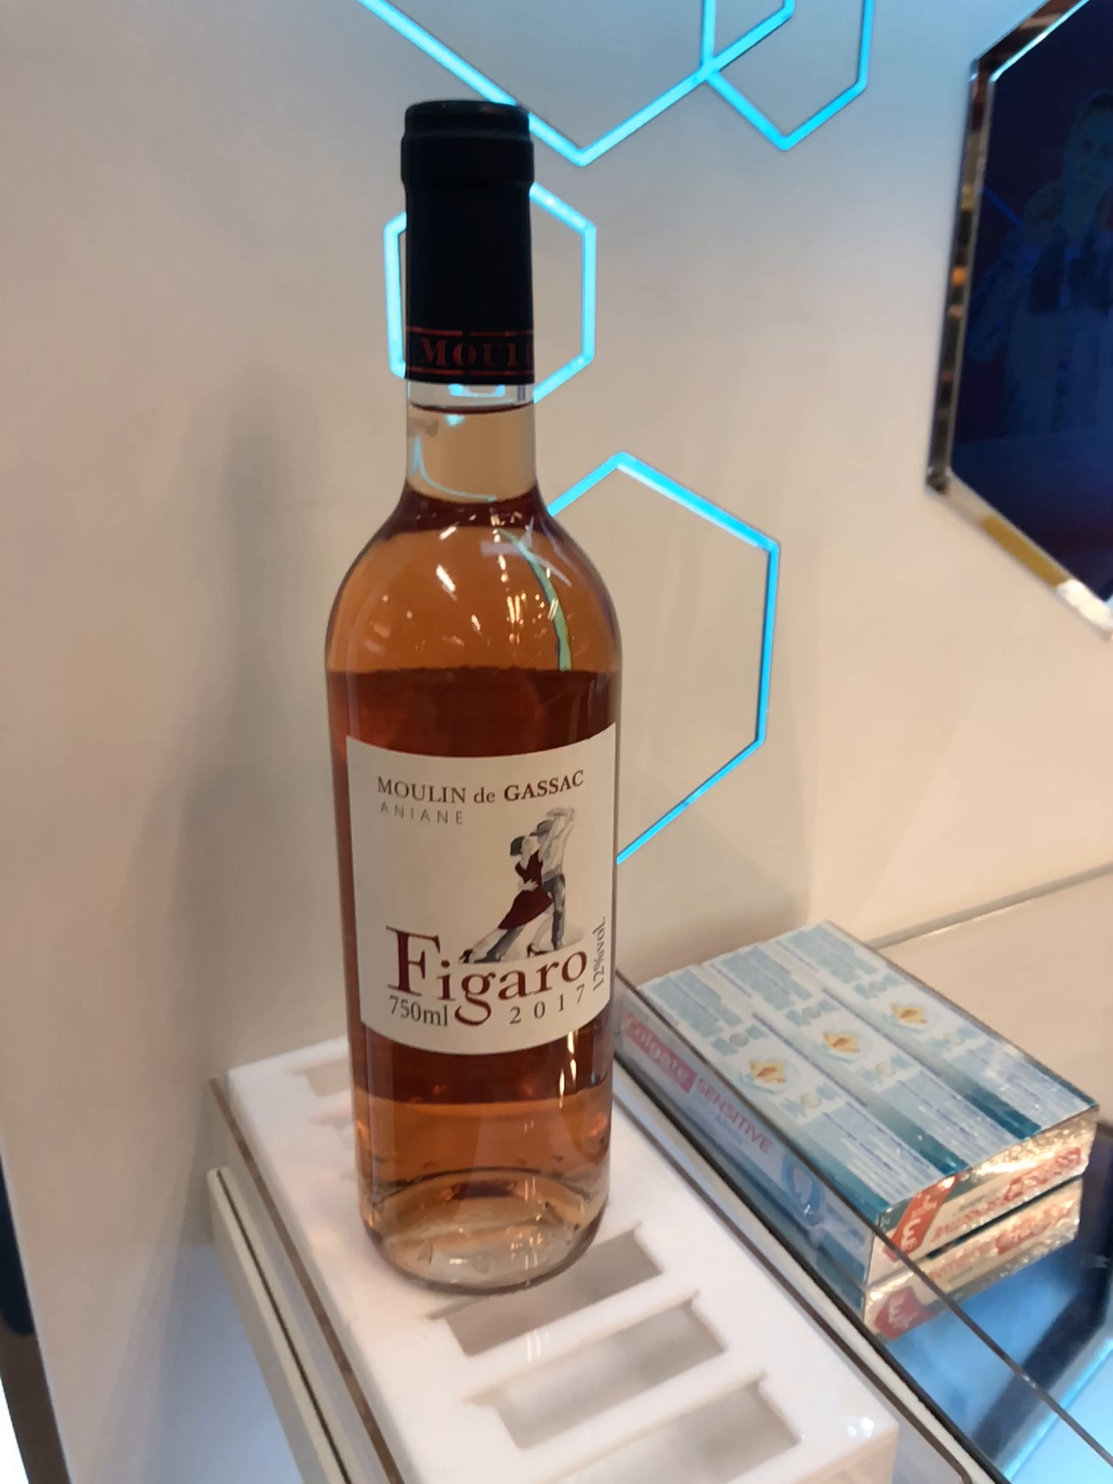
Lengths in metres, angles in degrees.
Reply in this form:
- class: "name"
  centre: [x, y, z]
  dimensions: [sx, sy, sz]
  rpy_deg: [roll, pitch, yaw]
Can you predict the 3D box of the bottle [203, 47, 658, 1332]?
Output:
- class: "bottle"
  centre: [-0.030, -0.001, 0.337]
  dimensions: [0.090, 0.318, 0.081]
  rpy_deg: [-3, 20, -9]
